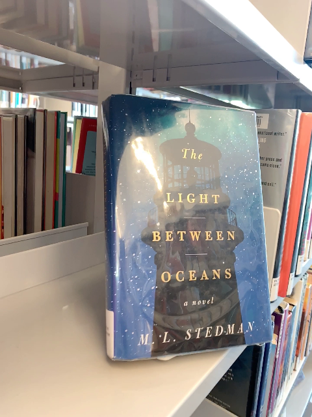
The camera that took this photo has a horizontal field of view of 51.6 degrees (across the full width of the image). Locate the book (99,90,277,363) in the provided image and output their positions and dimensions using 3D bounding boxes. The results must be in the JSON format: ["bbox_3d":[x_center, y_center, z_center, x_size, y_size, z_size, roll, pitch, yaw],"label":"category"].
[{"bbox_3d":[0.028,0.011,0.310,0.155,0.225,0.042,0,-8,-18],"label":"book"}]
